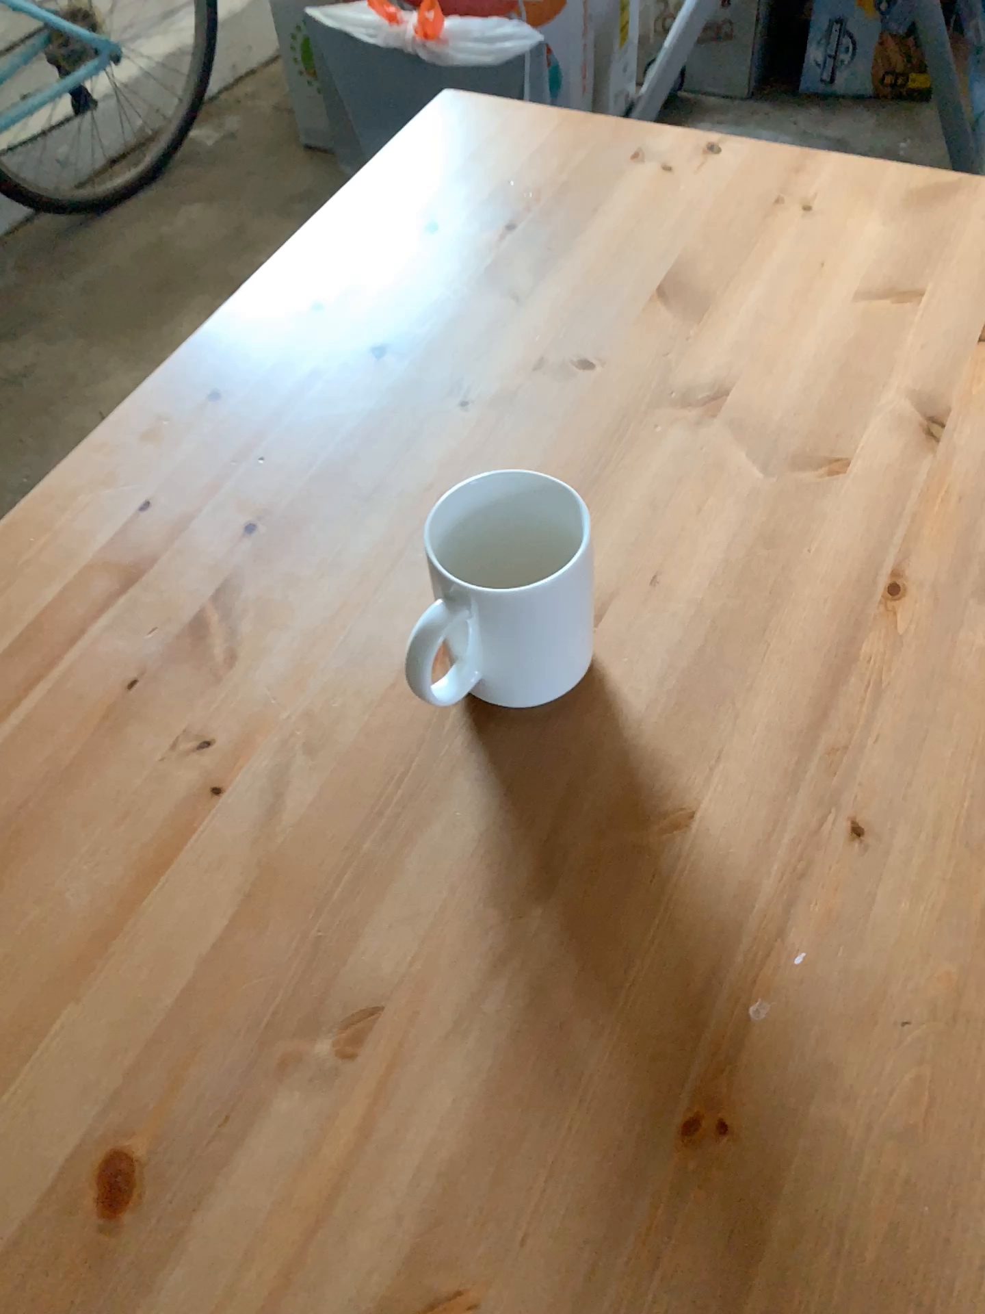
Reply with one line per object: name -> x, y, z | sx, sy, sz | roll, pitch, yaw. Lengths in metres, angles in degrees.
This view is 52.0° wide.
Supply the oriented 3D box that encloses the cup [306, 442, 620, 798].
cup -> -0.010, -0.021, 0.540 | 0.100, 0.100, 0.130 | 27, 61, 21
